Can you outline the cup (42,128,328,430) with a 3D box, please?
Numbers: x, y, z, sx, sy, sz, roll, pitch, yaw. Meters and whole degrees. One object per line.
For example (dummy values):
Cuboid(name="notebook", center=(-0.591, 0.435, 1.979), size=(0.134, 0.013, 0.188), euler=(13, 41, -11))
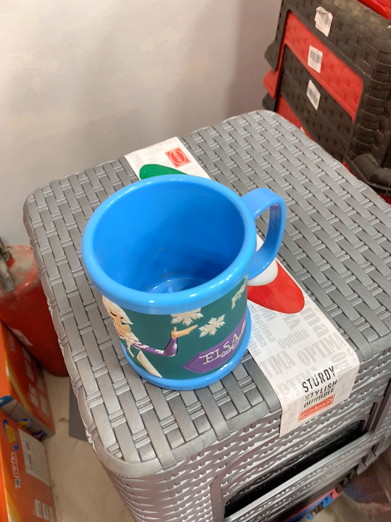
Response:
Cuboid(name="cup", center=(0.001, 0.009, 0.221), size=(0.078, 0.099, 0.107), euler=(34, 62, 28))
